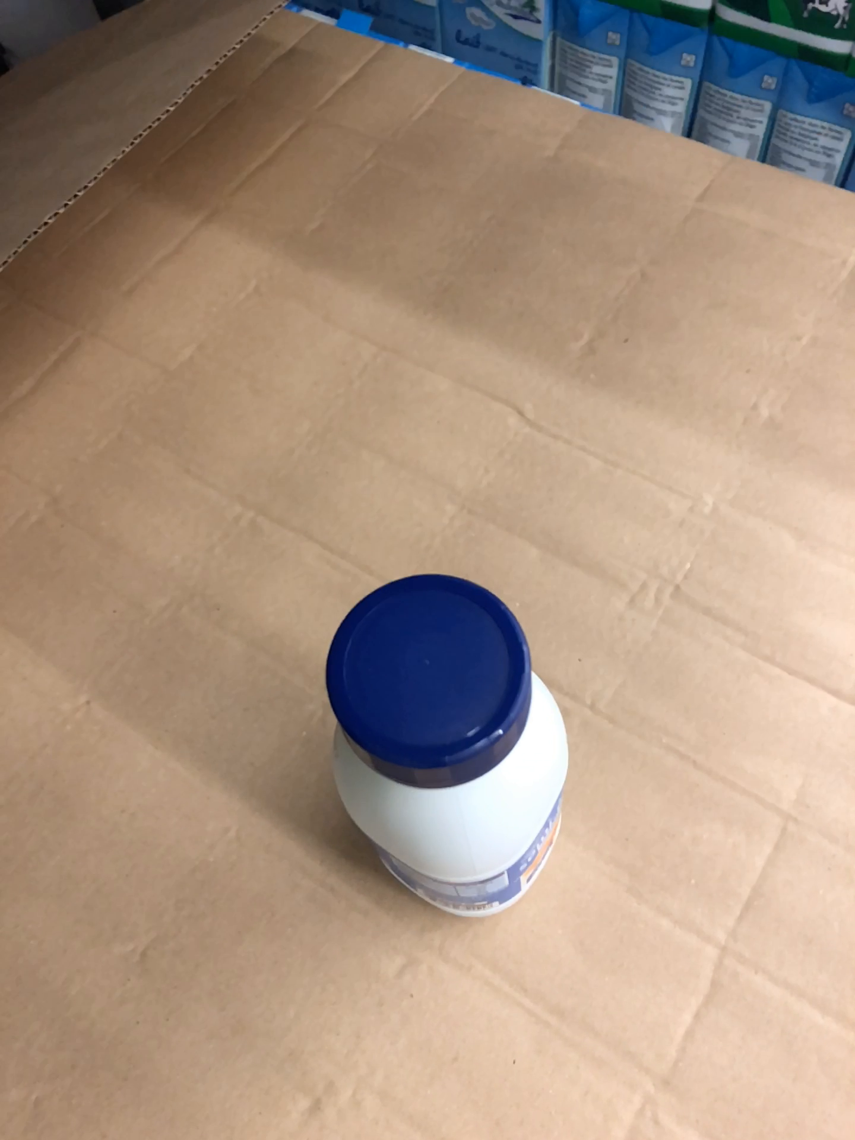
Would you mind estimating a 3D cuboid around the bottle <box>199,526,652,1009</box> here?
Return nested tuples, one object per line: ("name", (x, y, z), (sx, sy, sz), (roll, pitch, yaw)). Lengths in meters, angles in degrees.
("bottle", (0.008, 0.074, 0.293), (0.080, 0.170, 0.080), (-2, 62, 4))
